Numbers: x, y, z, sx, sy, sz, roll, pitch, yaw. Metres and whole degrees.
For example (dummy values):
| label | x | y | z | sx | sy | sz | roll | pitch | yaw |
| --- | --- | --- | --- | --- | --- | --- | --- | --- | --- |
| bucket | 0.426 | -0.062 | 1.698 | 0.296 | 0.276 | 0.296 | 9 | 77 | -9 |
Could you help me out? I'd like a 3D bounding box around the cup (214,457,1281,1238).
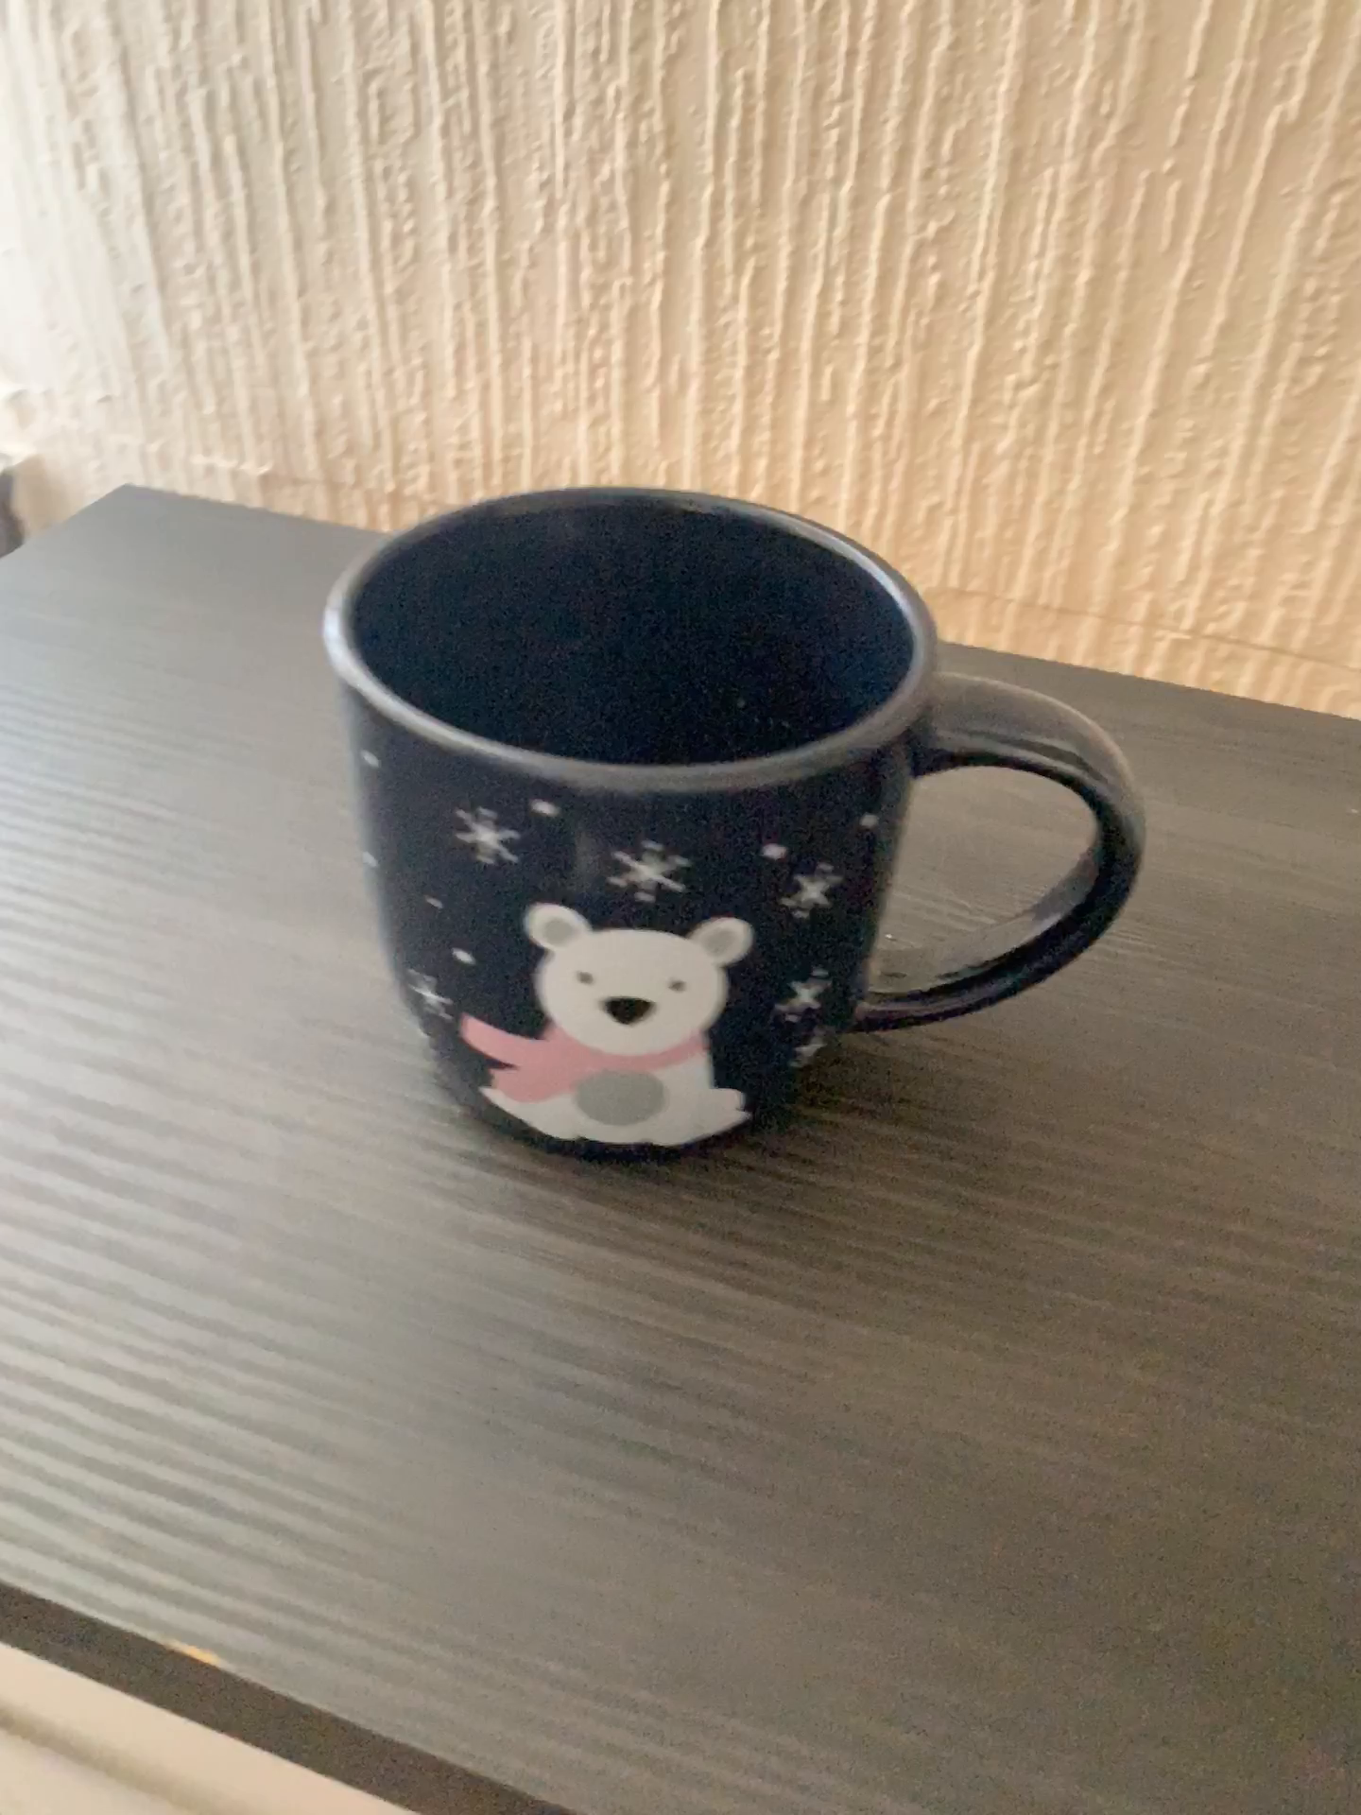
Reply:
| label | x | y | z | sx | sy | sz | roll | pitch | yaw |
| --- | --- | --- | --- | --- | --- | --- | --- | --- | --- |
| cup | 0.010 | -0.016 | 0.231 | 0.130 | 0.069 | 0.101 | 6 | 39 | 3 |
